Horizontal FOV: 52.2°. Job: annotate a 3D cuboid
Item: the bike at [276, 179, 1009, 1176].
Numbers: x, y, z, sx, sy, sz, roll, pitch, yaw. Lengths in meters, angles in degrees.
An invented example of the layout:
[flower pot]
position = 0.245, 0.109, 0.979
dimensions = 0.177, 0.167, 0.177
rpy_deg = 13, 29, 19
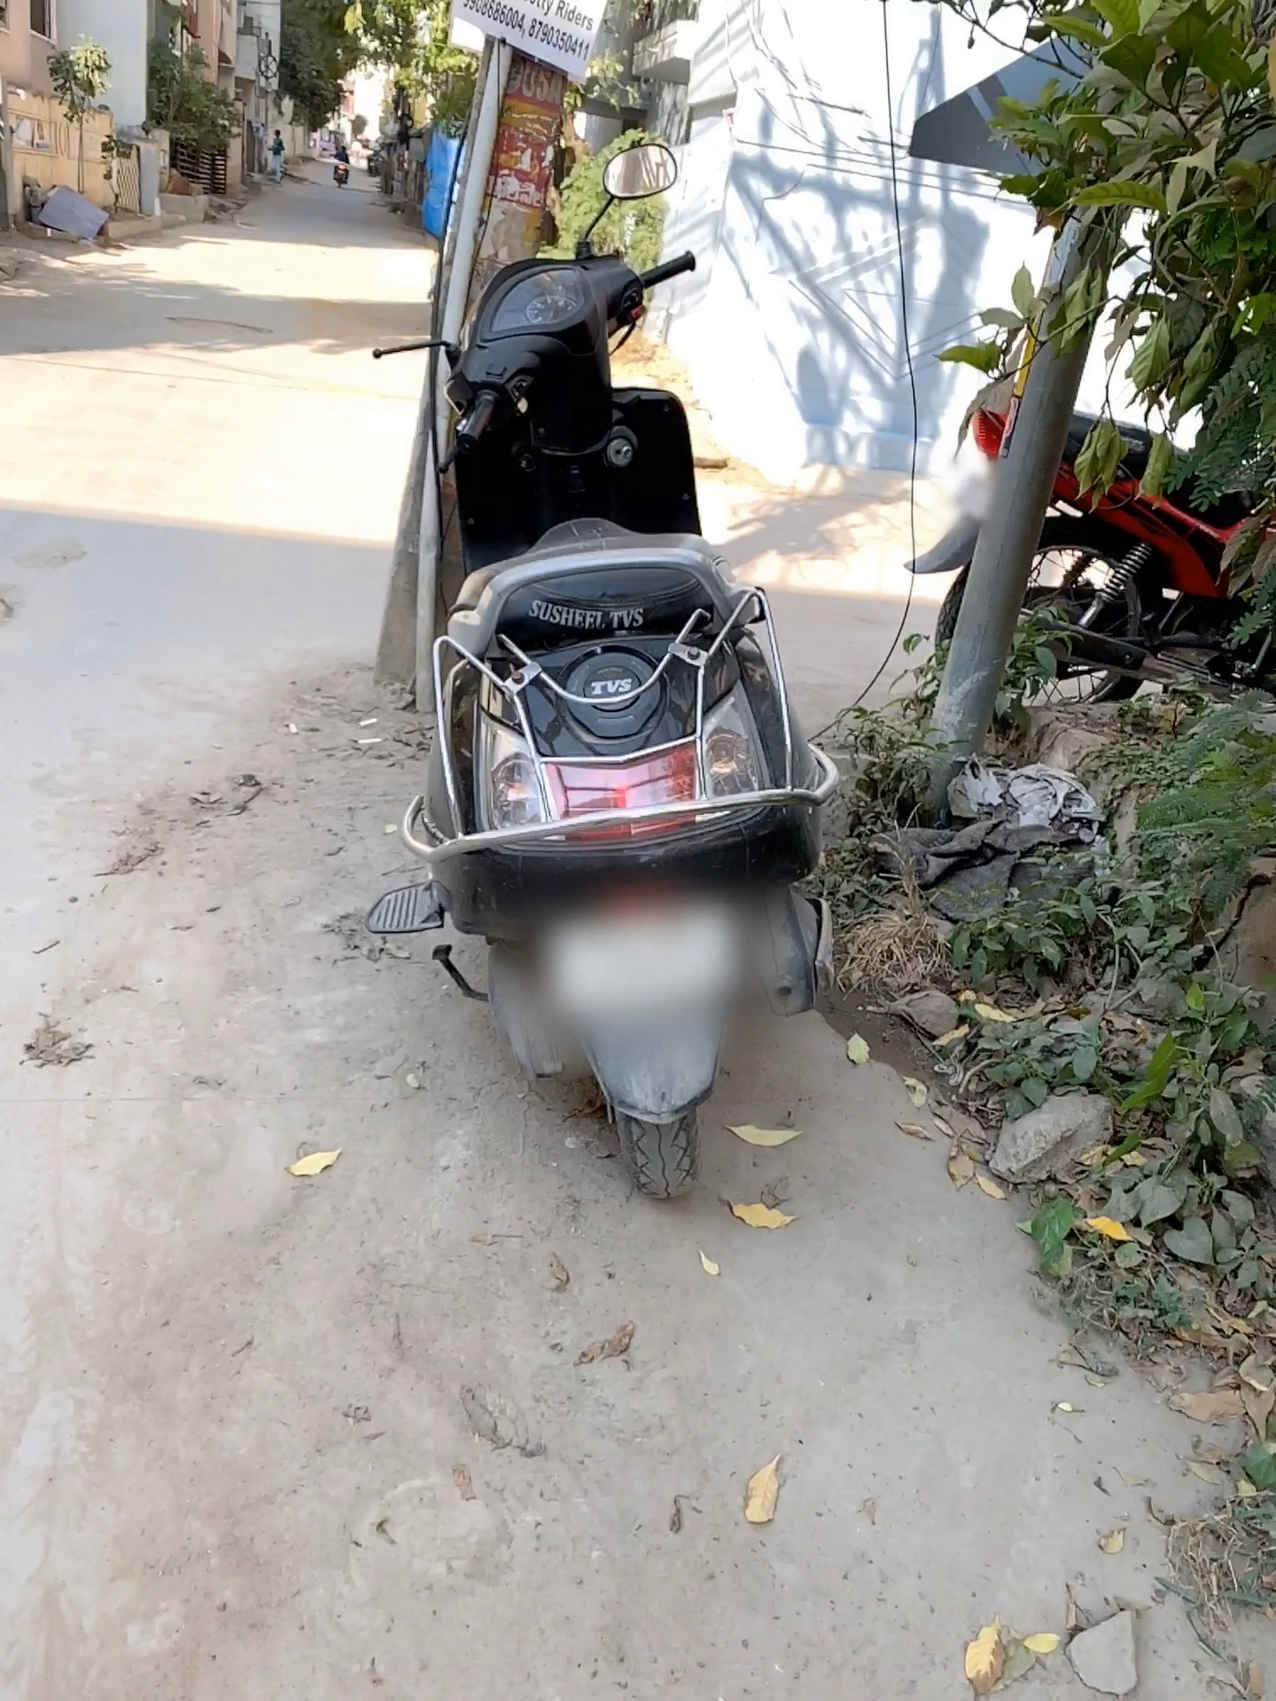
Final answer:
[bike]
position = -0.148, -0.489, 2.104
dimensions = 0.618, 0.943, 1.828
rpy_deg = 4, 27, -10
